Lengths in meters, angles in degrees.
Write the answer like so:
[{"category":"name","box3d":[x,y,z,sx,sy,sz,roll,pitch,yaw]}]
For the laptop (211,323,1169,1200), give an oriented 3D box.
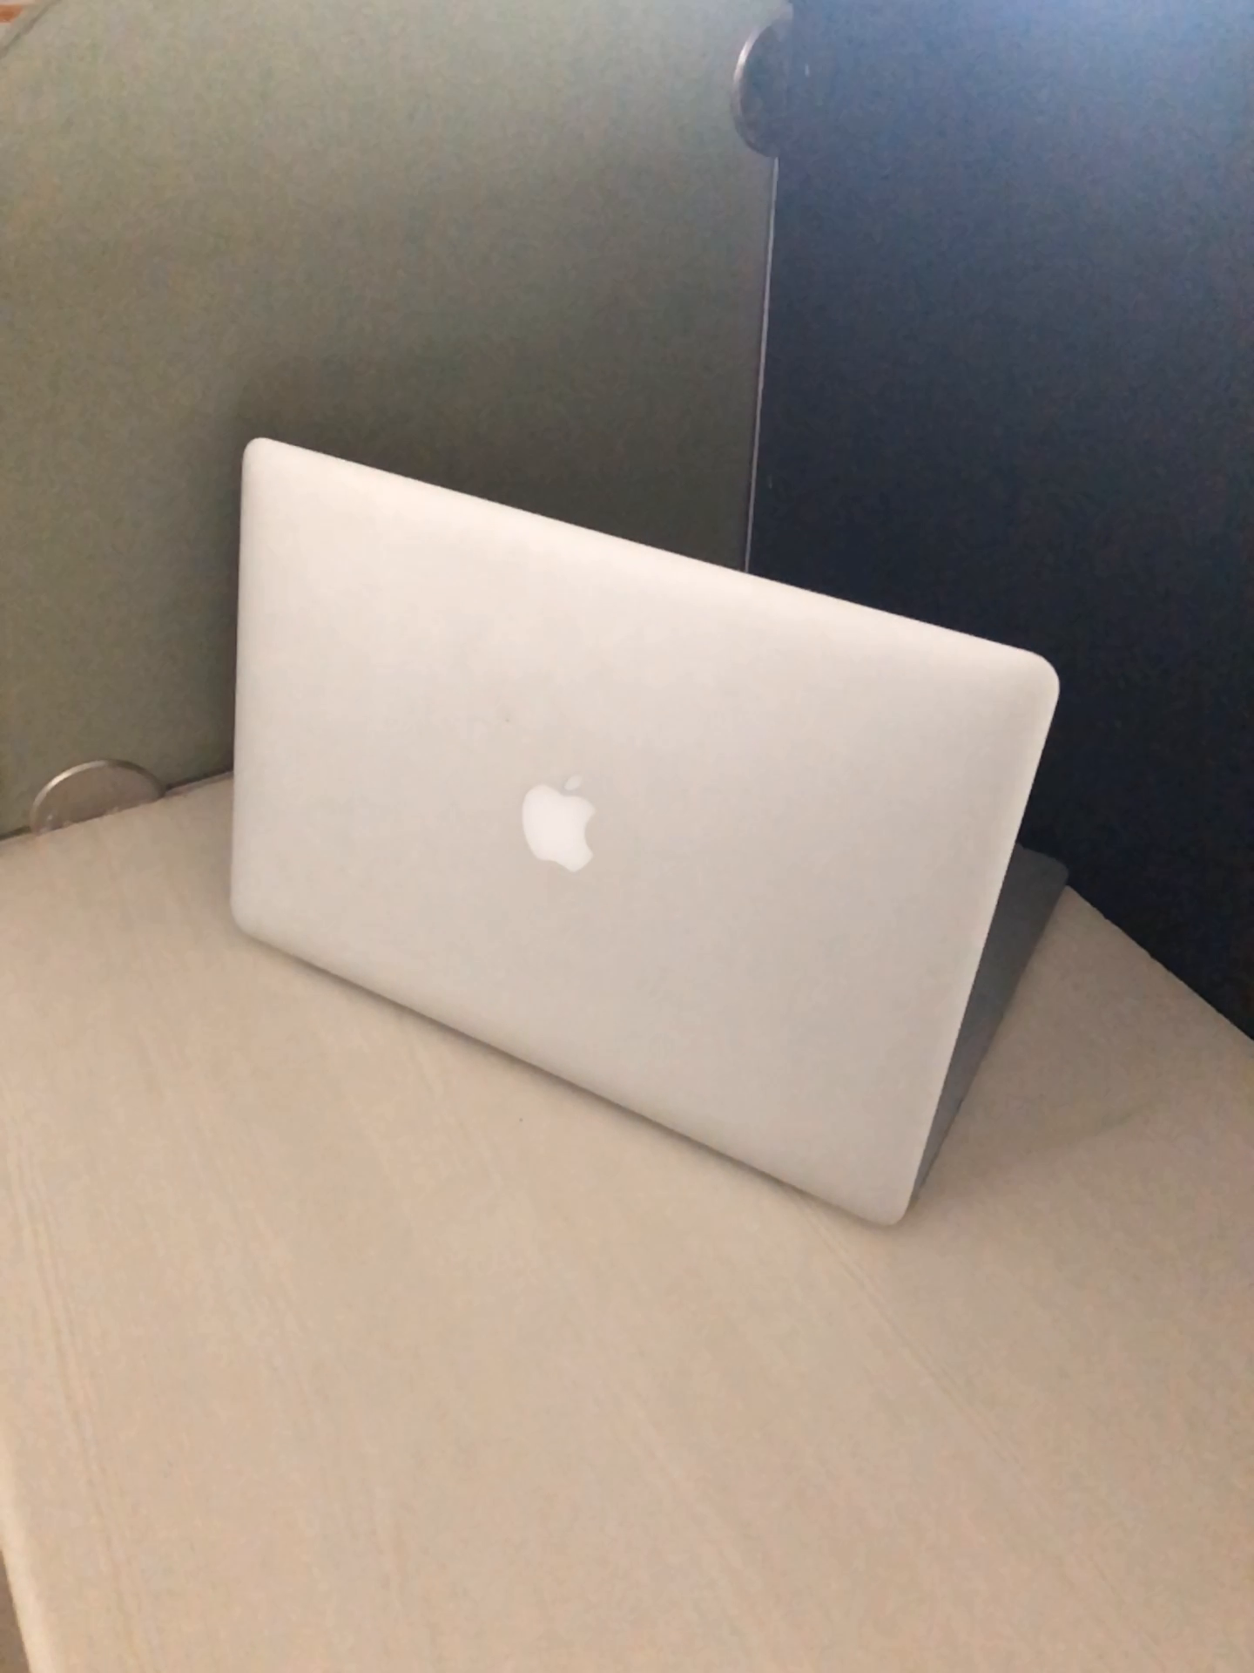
[{"category":"laptop","box3d":[0.033,-0.058,0.645,0.322,0.232,0.244,21,43,23]}]
